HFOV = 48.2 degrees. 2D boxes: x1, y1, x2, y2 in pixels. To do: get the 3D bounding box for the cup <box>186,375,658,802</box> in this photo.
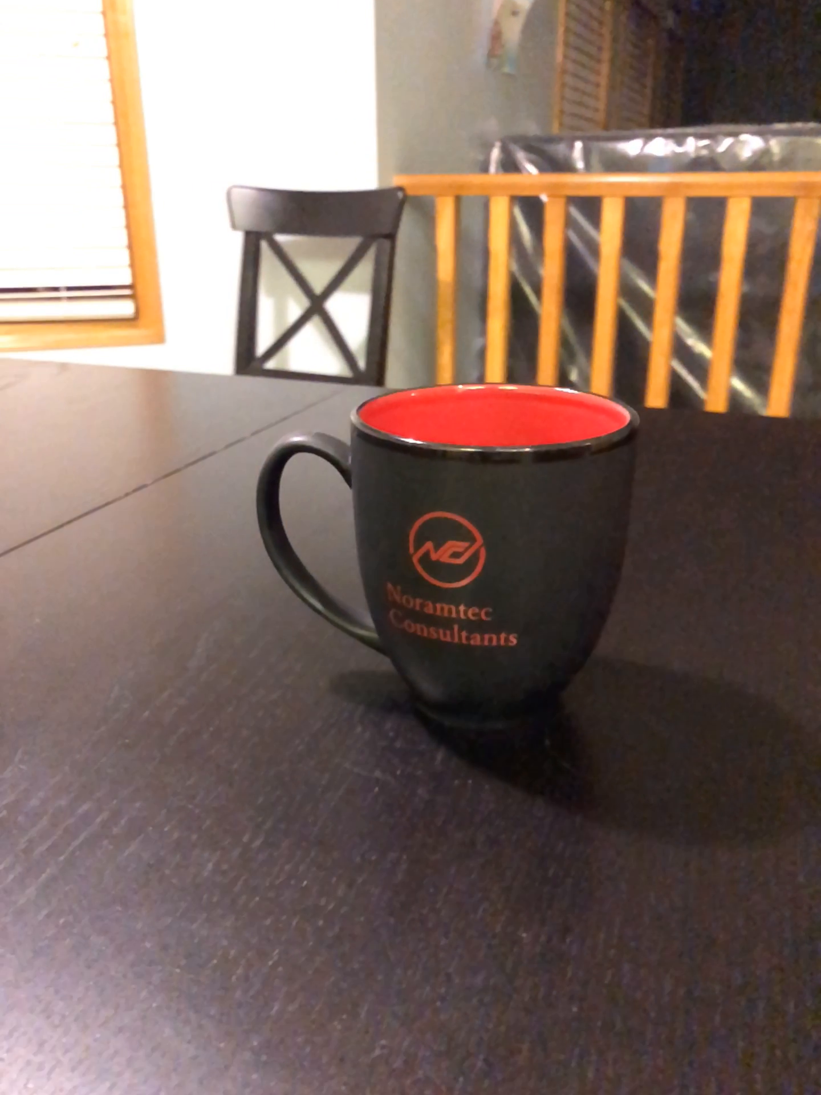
[{"bbox_3d":[0.011,0.005,0.332,0.140,0.110,0.100,6,21,15],"label":"cup"}]
